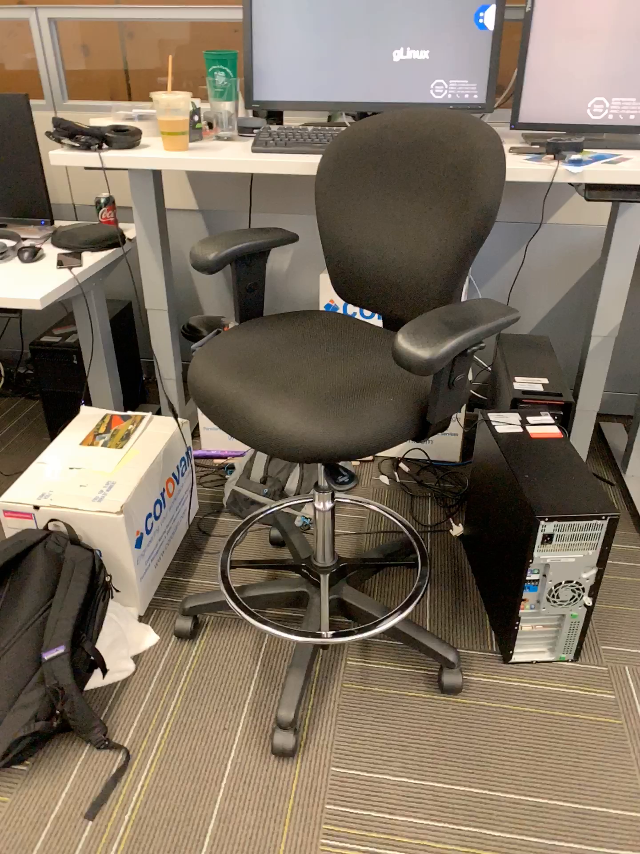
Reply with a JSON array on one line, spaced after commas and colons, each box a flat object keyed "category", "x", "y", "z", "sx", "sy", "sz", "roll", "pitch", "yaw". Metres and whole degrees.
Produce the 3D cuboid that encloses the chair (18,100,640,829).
[{"category": "chair", "x": 0.036, "y": -0.021, "z": 1.349, "sx": 0.713, "sy": 1.103, "sz": 0.772, "roll": 26, "pitch": 39, "yaw": 37}]
